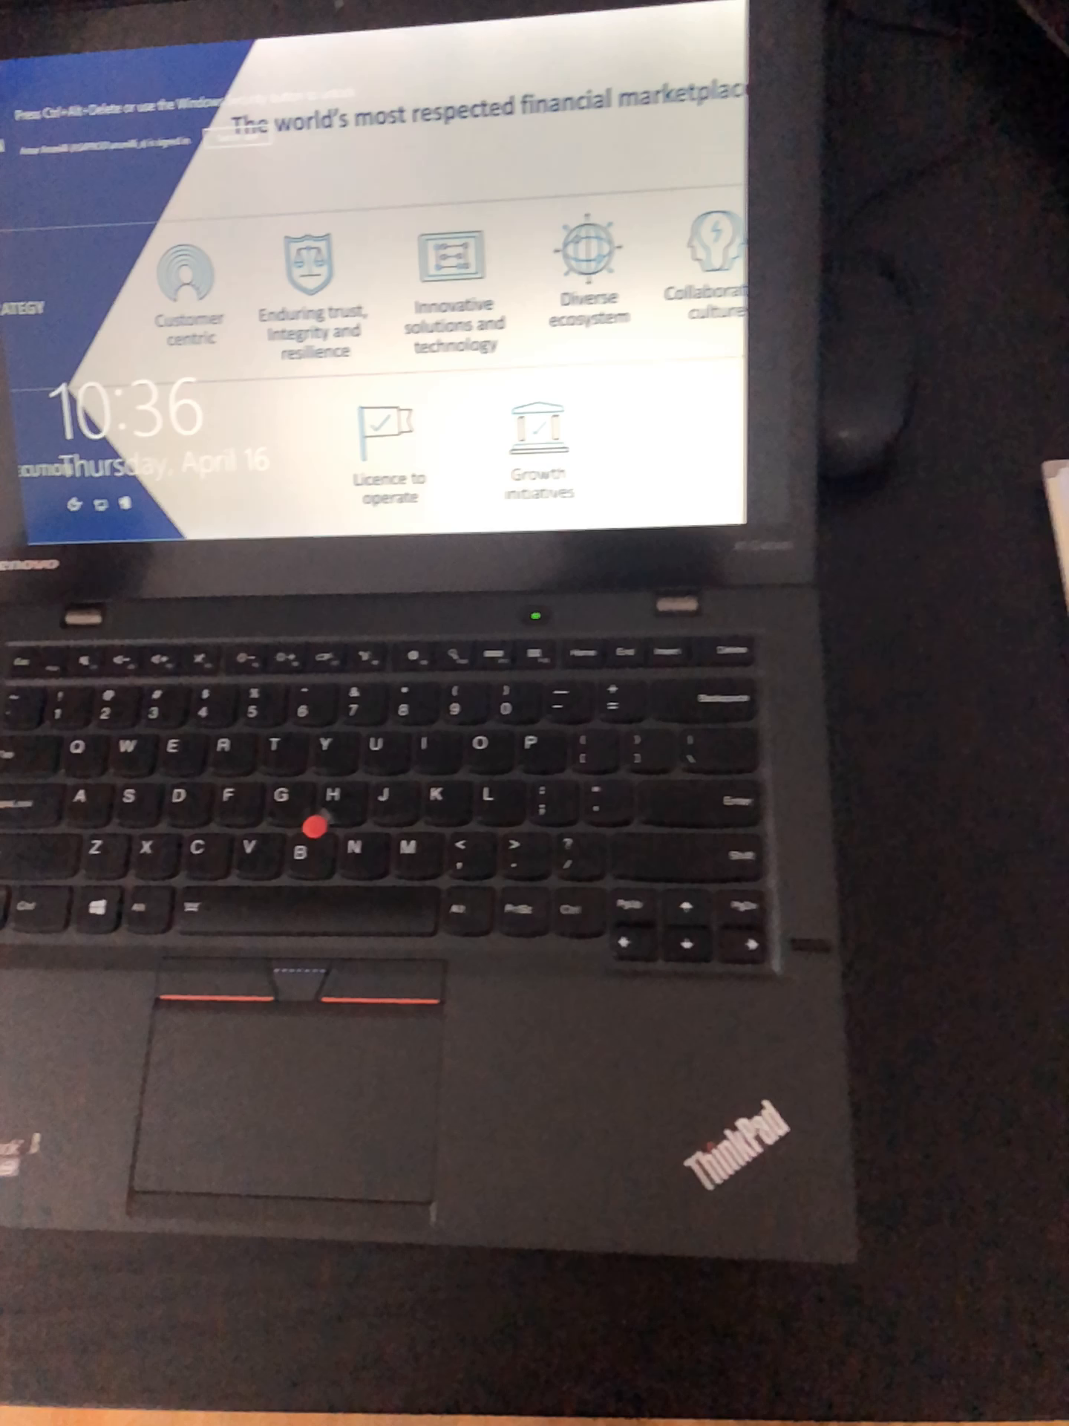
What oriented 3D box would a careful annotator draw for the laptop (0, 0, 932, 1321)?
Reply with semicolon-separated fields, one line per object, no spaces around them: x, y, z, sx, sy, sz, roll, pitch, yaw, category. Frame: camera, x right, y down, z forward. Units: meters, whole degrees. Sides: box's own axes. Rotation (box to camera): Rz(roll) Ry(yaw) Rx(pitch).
-0.067;-0.041;0.376;0.322;0.117;0.389;0;71;6;laptop
